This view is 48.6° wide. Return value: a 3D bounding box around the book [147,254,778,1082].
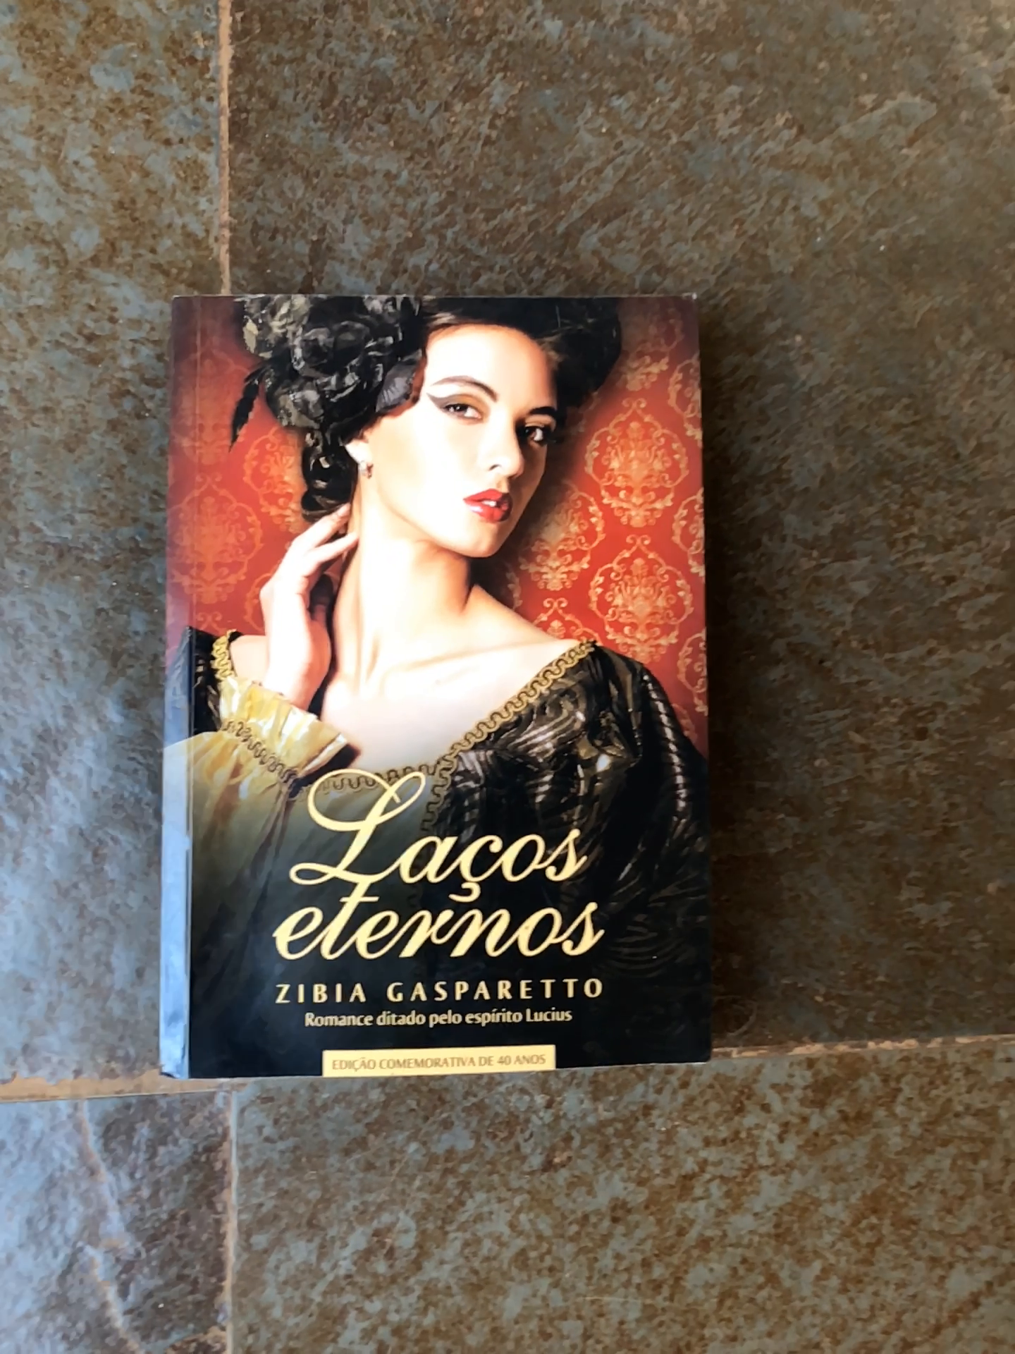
[{"bbox_3d":[-0.012,-0.005,0.295,0.153,0.027,0.204,-1,85,-4],"label":"book"}]
